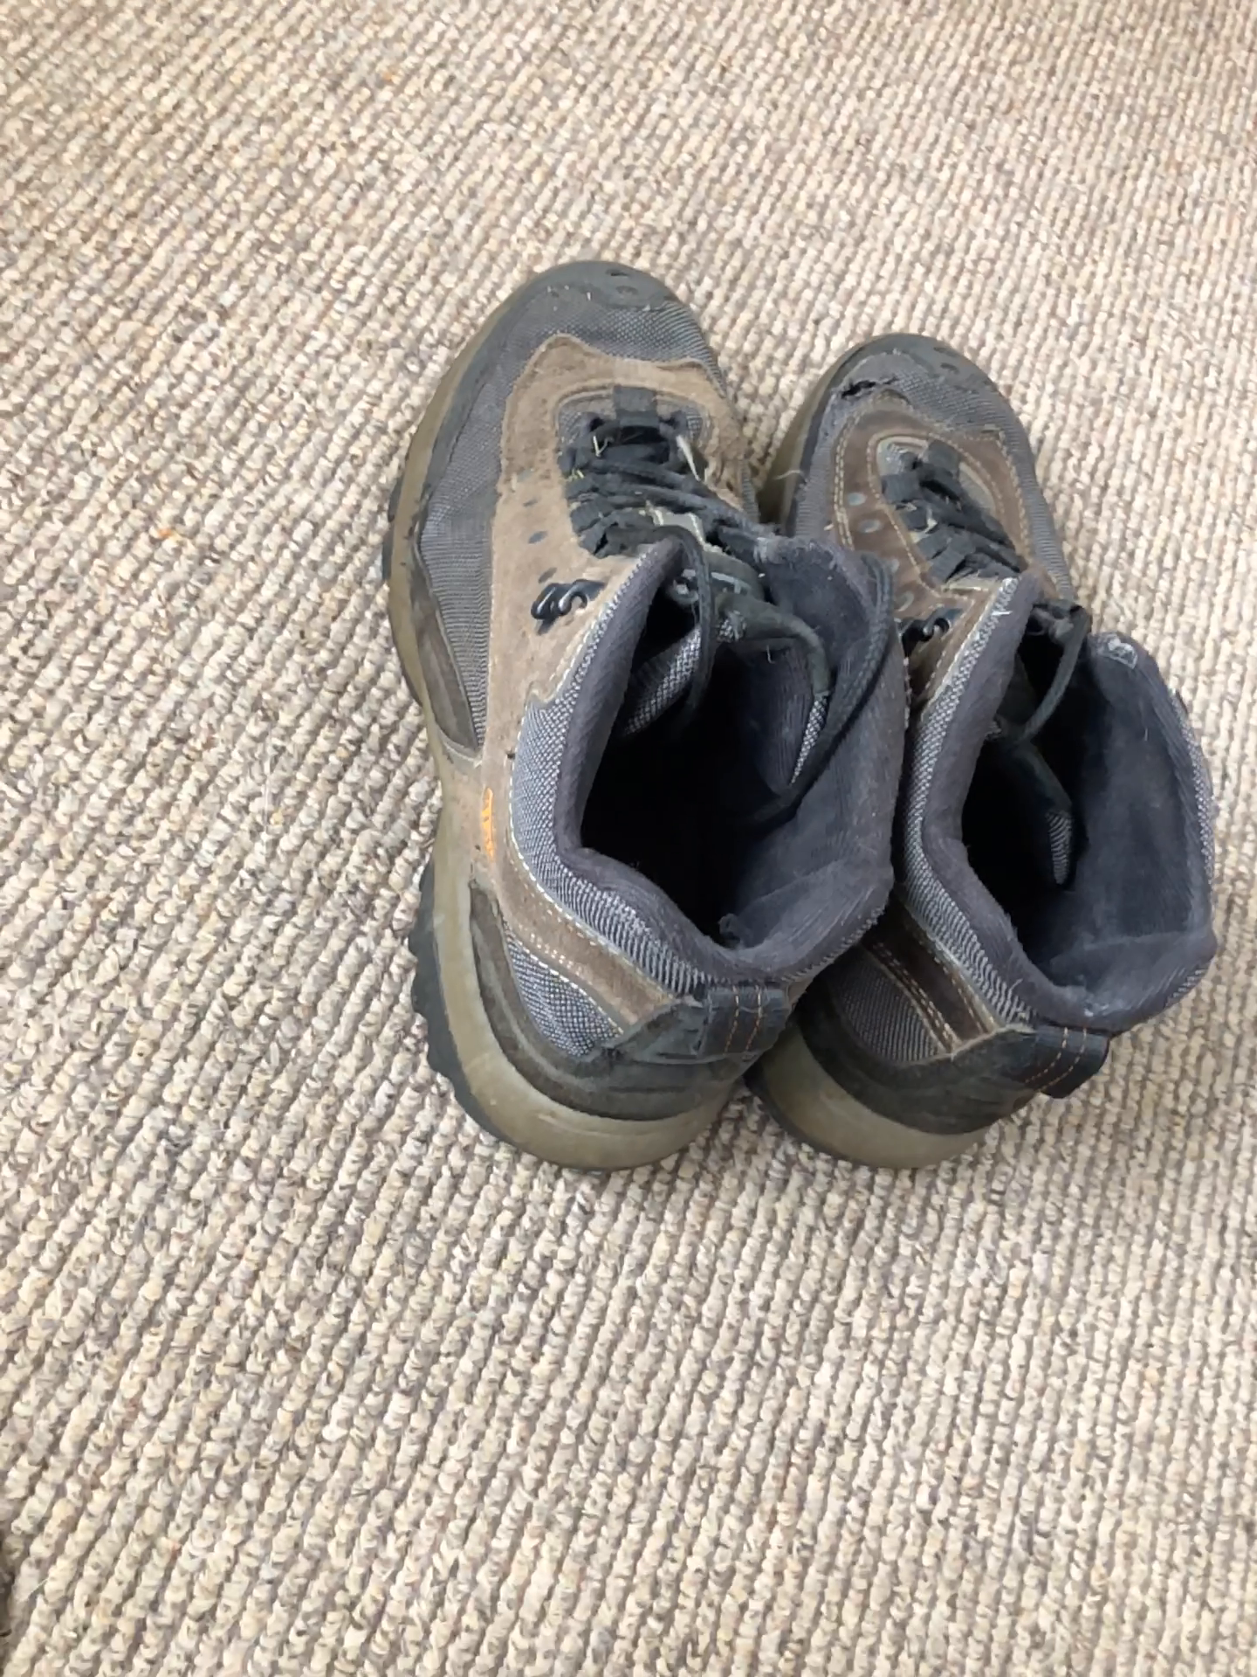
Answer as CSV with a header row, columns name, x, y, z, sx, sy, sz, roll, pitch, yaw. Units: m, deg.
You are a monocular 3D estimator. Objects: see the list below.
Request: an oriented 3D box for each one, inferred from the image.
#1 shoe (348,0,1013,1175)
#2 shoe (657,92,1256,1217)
name,x,y,z,sx,sy,sz,roll,pitch,yaw
shoe,-0.002,-0.062,0.380,0.116,0.135,0.280,6,66,-18
shoe,0.107,-0.050,0.414,0.118,0.137,0.280,16,63,-13
